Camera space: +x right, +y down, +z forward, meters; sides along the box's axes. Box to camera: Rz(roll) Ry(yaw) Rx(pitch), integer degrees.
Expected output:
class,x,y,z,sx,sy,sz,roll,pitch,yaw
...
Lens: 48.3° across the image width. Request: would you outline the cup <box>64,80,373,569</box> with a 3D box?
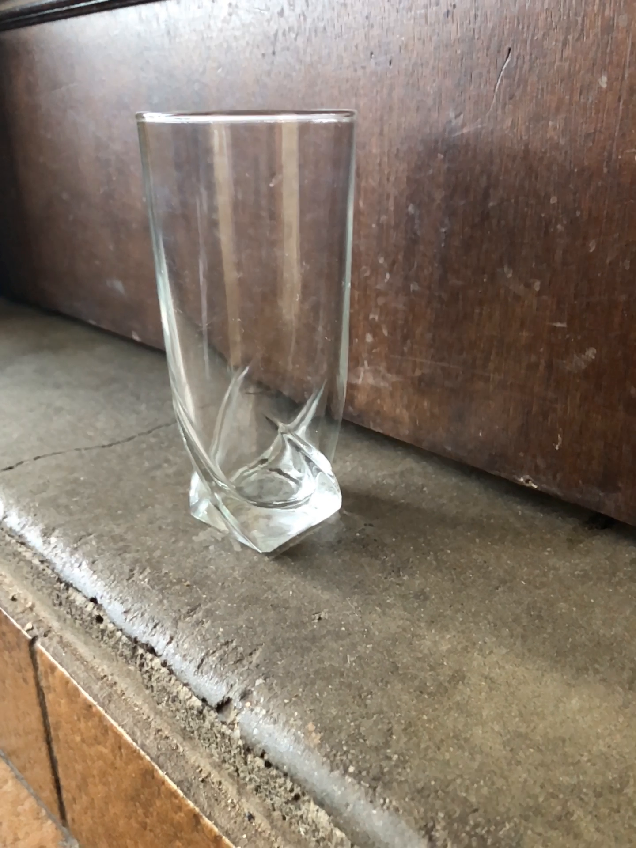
class,x,y,z,sx,sy,sz,roll,pitch,yaw
cup,-0.029,-0.037,0.239,0.070,0.139,0.060,19,31,38
